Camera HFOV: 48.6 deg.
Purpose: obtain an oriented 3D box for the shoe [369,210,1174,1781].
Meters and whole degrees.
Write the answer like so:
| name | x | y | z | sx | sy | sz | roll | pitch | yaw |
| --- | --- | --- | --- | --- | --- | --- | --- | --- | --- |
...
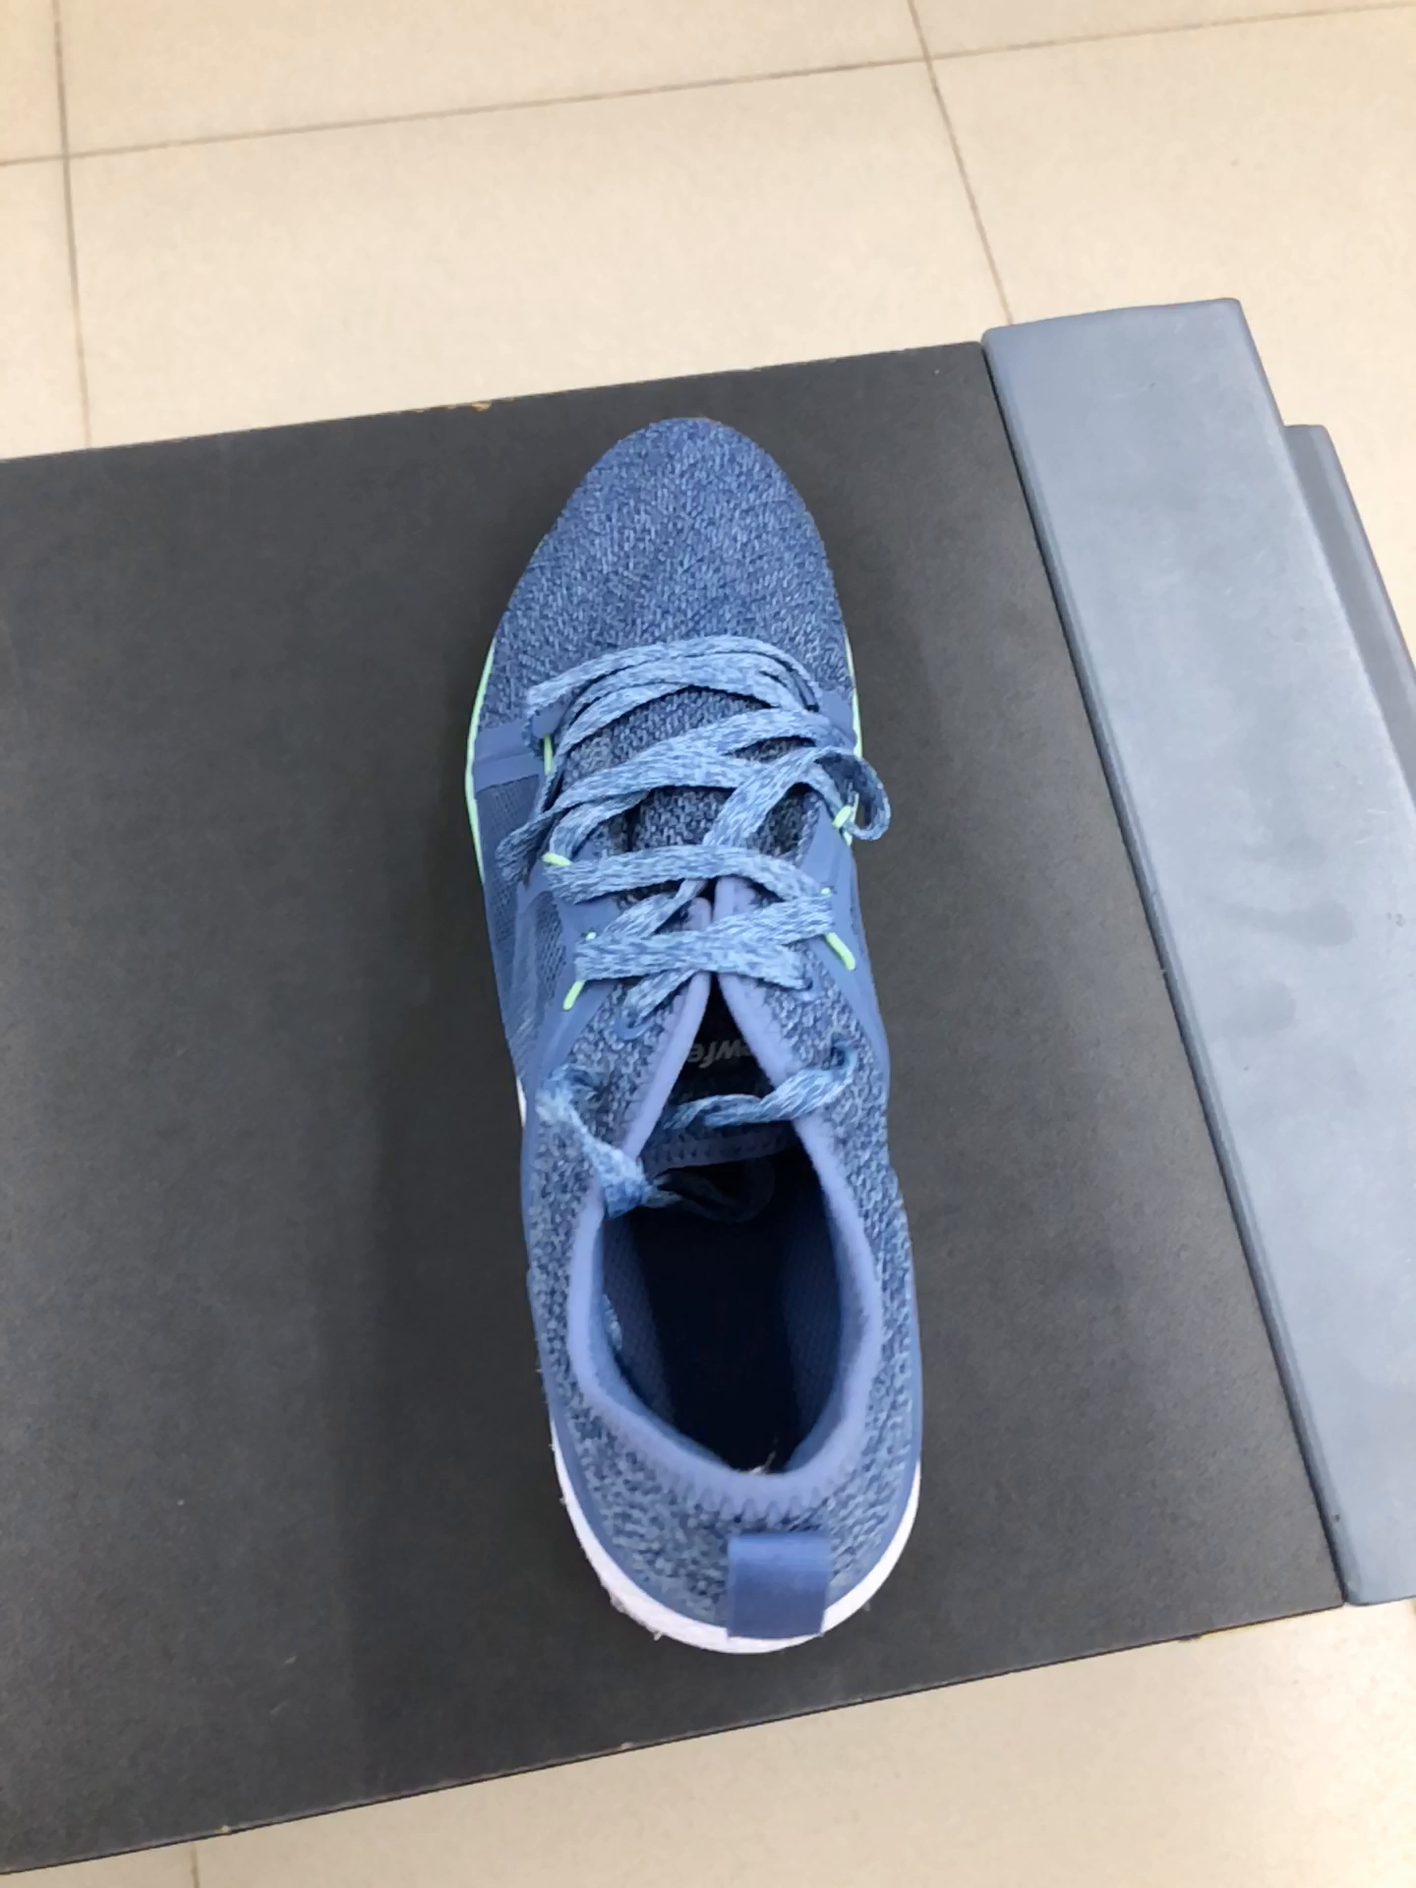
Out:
| name | x | y | z | sx | sy | sz | roll | pitch | yaw |
| --- | --- | --- | --- | --- | --- | --- | --- | --- | --- |
| shoe | -0.001 | -0.003 | 0.314 | 0.100 | 0.080 | 0.281 | -7 | 70 | -5 |
